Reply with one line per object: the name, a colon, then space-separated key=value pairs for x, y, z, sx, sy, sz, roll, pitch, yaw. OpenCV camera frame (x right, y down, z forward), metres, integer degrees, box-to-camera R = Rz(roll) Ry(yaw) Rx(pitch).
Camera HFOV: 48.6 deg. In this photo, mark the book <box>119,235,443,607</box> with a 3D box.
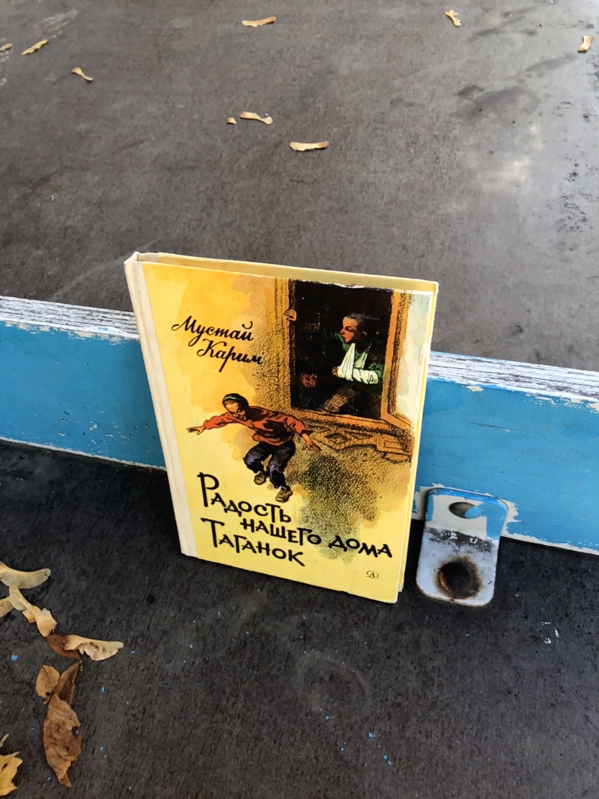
book: x=-0.010 y=0.022 z=0.377 sx=0.155 sy=0.217 sz=0.020 roll=10 pitch=37 yaw=15
